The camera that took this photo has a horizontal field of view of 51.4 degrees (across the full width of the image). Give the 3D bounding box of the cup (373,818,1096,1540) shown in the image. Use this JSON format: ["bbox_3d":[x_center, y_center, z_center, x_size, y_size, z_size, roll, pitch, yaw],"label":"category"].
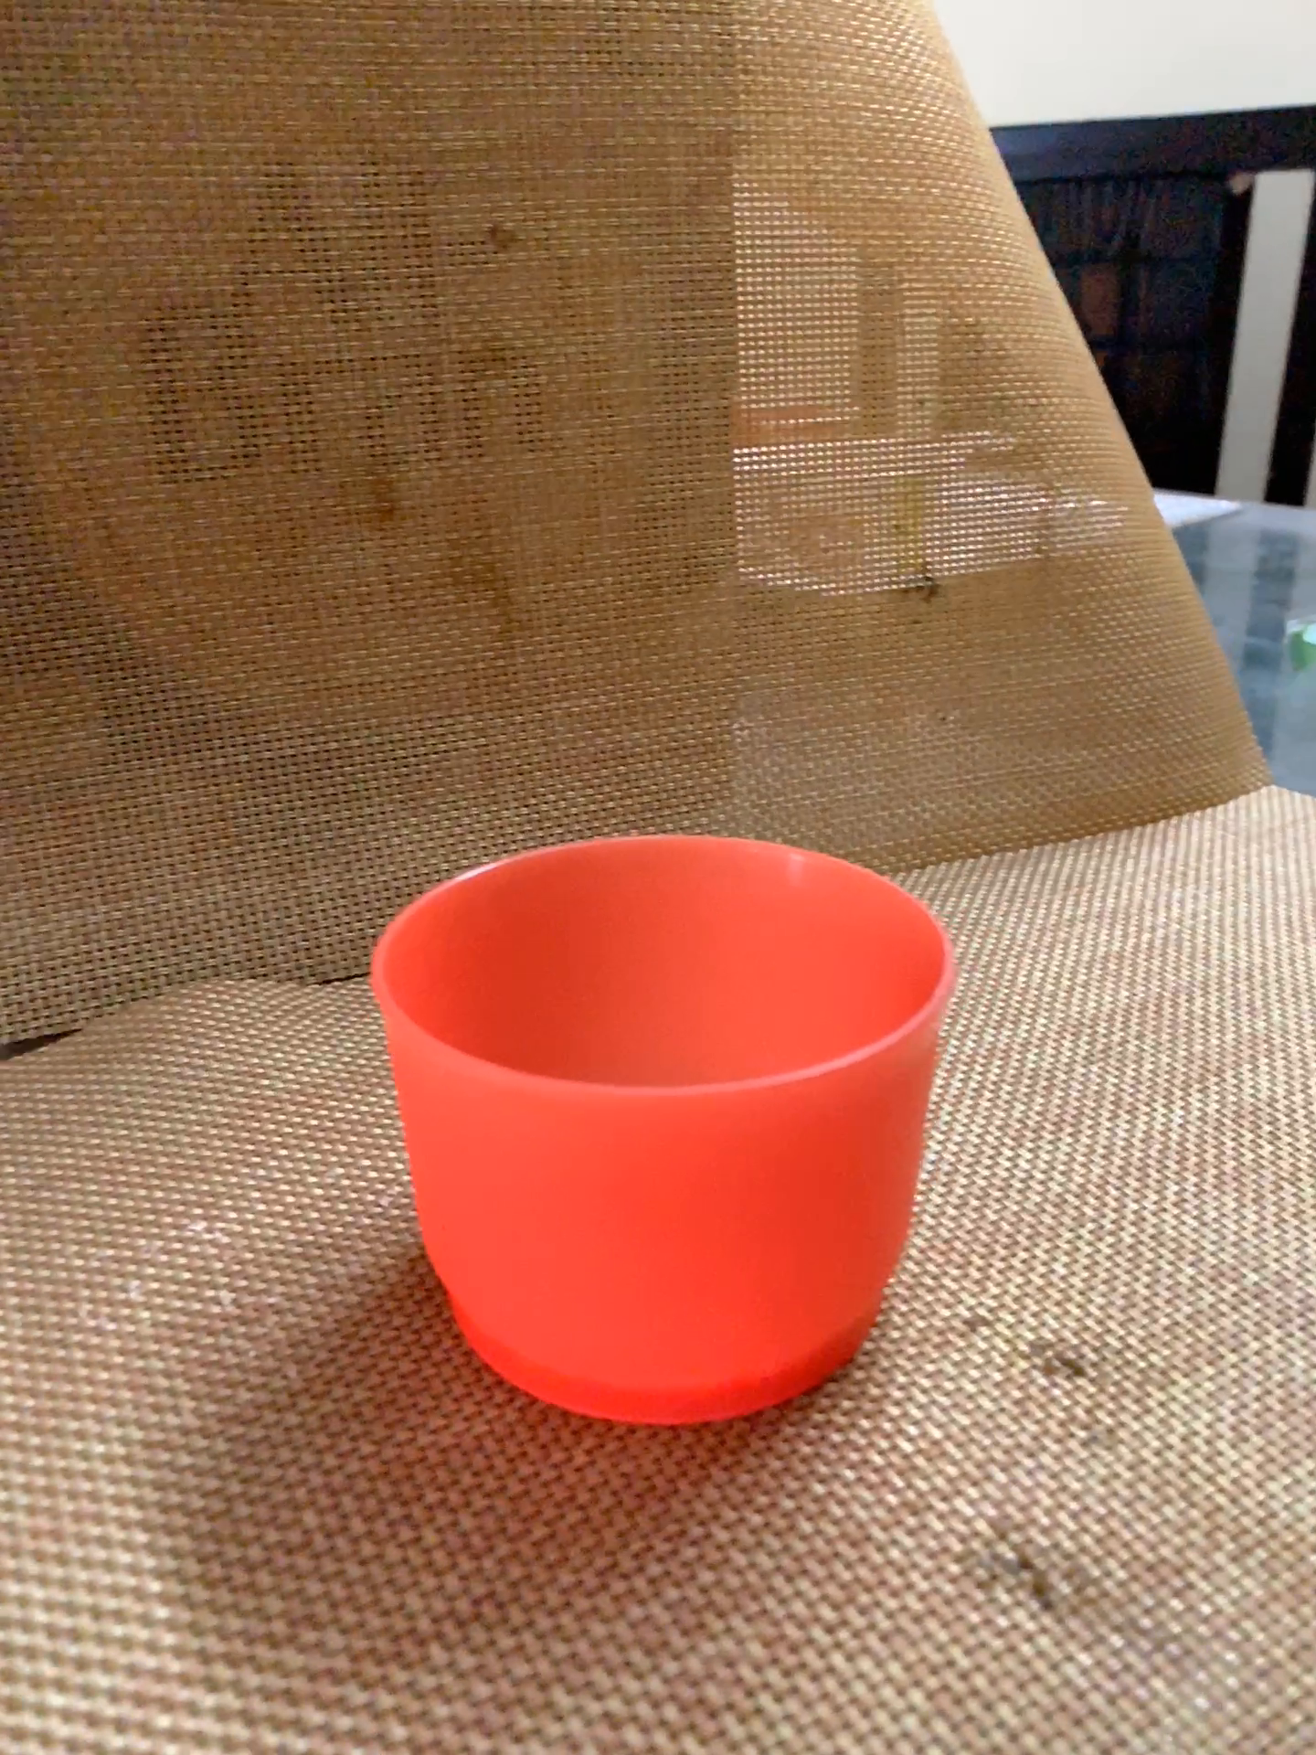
[{"bbox_3d":[0.004,0.031,0.178,0.070,0.050,0.070,-1,23,0],"label":"cup"}]
